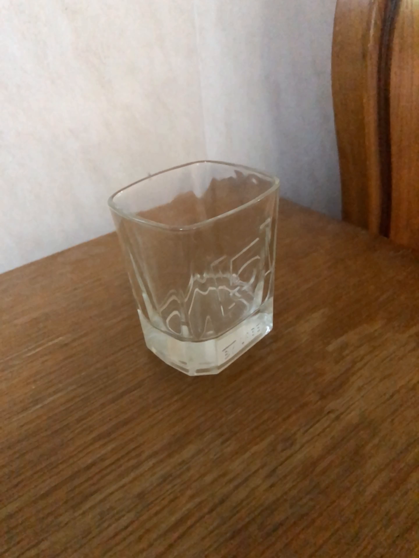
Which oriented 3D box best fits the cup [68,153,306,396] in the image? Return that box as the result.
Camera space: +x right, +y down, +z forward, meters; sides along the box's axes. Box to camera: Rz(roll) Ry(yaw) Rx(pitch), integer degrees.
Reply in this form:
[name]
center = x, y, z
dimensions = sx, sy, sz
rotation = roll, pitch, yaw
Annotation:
[cup]
center = -0.007, -0.009, 0.212
dimensions = 0.070, 0.070, 0.070
rotation = -4, 31, 2
